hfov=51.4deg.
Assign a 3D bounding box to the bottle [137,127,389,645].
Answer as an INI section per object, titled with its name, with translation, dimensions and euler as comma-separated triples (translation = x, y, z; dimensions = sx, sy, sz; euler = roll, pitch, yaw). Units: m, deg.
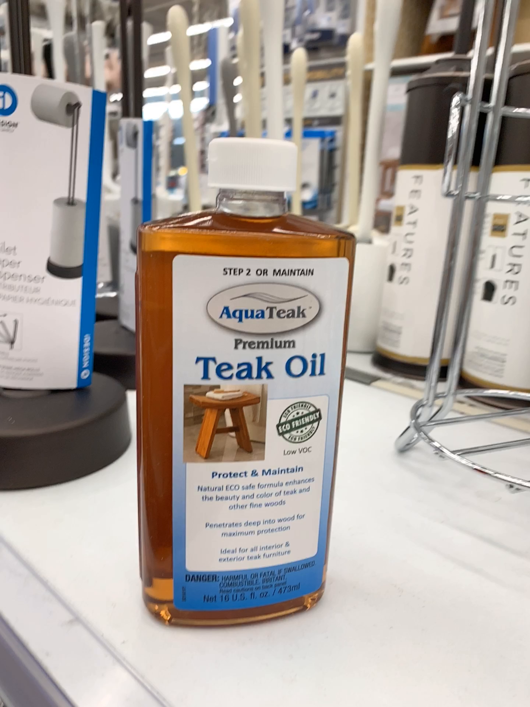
[bottle]
translation = -0.007, 0.018, 0.239
dimensions = 0.088, 0.207, 0.046
euler = -2, 16, -14
